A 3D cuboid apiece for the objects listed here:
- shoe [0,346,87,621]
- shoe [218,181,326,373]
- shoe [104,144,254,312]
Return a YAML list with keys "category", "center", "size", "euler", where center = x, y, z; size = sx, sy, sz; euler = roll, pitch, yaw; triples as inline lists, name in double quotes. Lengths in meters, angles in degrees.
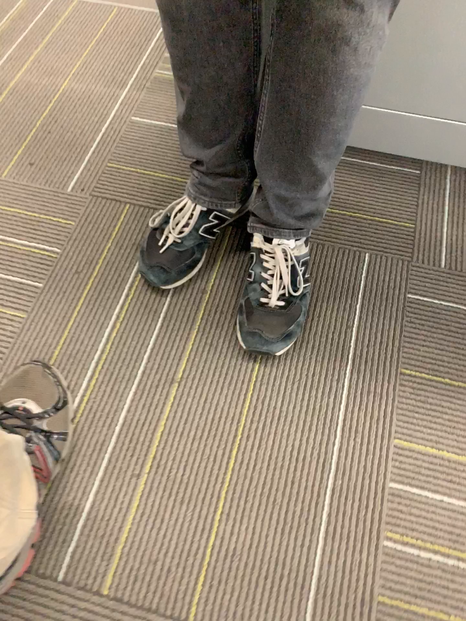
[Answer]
- category: "shoe"
  center: [-0.293, 0.215, 0.635]
  size: [0.134, 0.087, 0.328]
  euler: [-1, 60, -1]
- category: "shoe"
  center: [0.071, -0.066, 0.810]
  size: [0.131, 0.087, 0.316]
  euler: [9, 60, 5]
- category: "shoe"
  center: [-0.084, -0.153, 0.848]
  size: [0.138, 0.085, 0.280]
  euler: [22, 62, 12]
